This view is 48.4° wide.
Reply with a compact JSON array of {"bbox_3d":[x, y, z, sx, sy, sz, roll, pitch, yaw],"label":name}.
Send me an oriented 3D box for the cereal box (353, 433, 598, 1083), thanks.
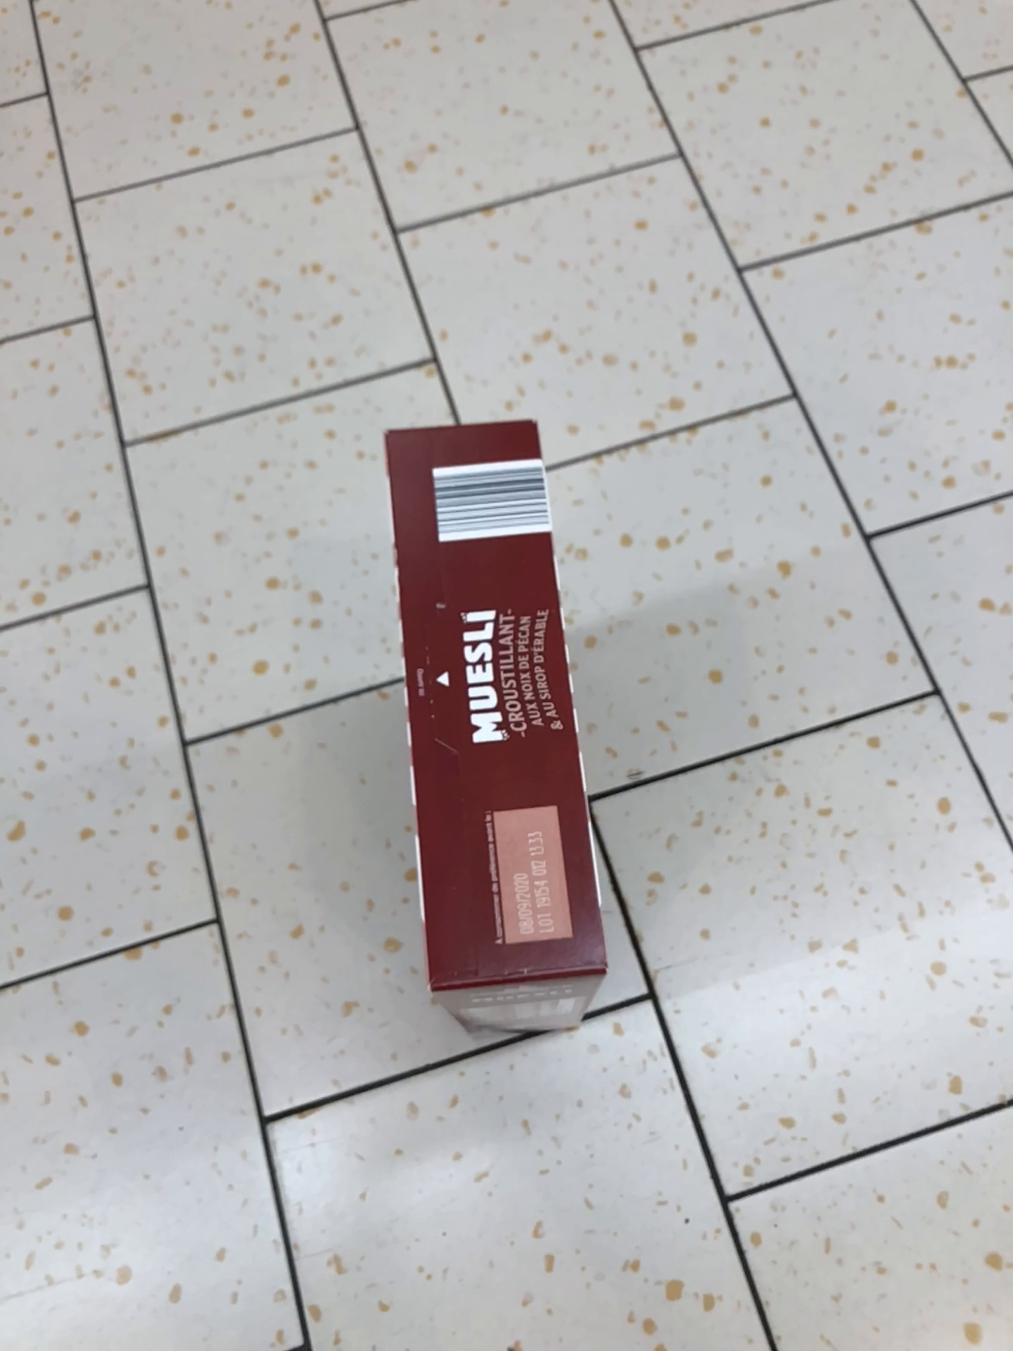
[{"bbox_3d":[-0.008,0.057,0.464,0.060,0.250,0.200,-6,69,1],"label":"cereal box"}]
